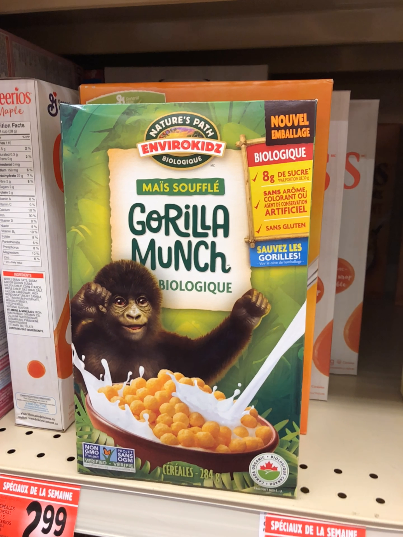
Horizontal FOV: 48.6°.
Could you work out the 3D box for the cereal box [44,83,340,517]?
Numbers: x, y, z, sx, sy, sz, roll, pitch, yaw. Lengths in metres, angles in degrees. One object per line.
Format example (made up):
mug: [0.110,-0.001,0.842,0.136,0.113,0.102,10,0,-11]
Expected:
cereal box: [-0.004,0.022,0.296,0.160,0.259,0.060,2,13,9]
